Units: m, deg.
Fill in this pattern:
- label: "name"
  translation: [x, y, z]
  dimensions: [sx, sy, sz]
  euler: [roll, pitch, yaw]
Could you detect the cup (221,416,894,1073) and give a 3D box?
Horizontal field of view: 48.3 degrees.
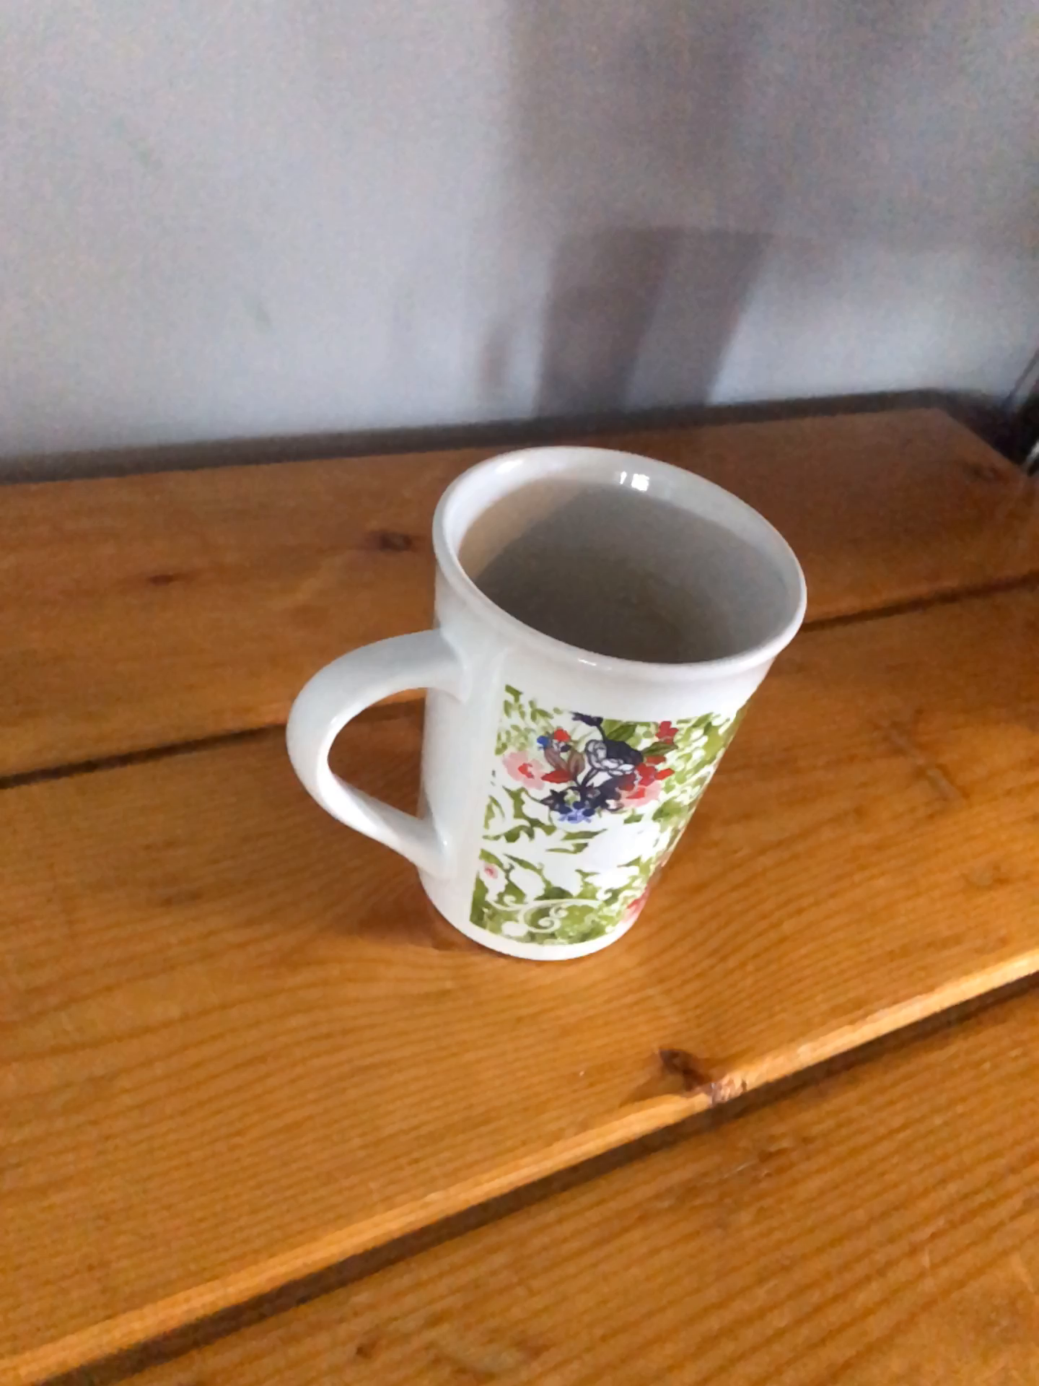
- label: "cup"
  translation: [0.001, 0.009, 0.313]
  dimensions: [0.130, 0.120, 0.090]
  euler: [-16, 51, -30]
